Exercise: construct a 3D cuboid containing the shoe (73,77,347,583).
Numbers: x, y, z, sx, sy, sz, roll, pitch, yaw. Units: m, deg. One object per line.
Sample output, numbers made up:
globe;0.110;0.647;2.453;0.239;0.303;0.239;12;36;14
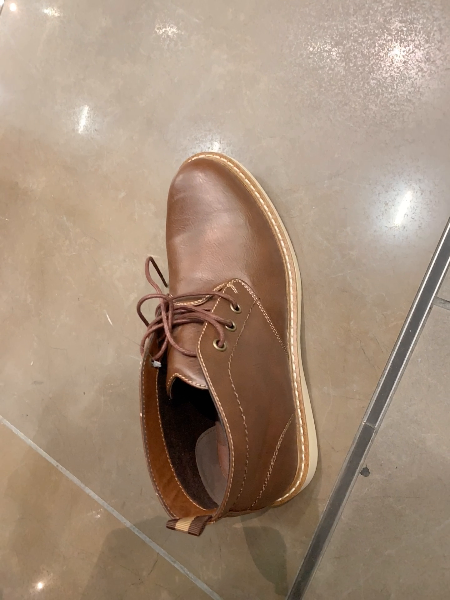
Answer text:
shoe;-0.010;0.019;0.340;0.107;0.120;0.295;-15;79;27
